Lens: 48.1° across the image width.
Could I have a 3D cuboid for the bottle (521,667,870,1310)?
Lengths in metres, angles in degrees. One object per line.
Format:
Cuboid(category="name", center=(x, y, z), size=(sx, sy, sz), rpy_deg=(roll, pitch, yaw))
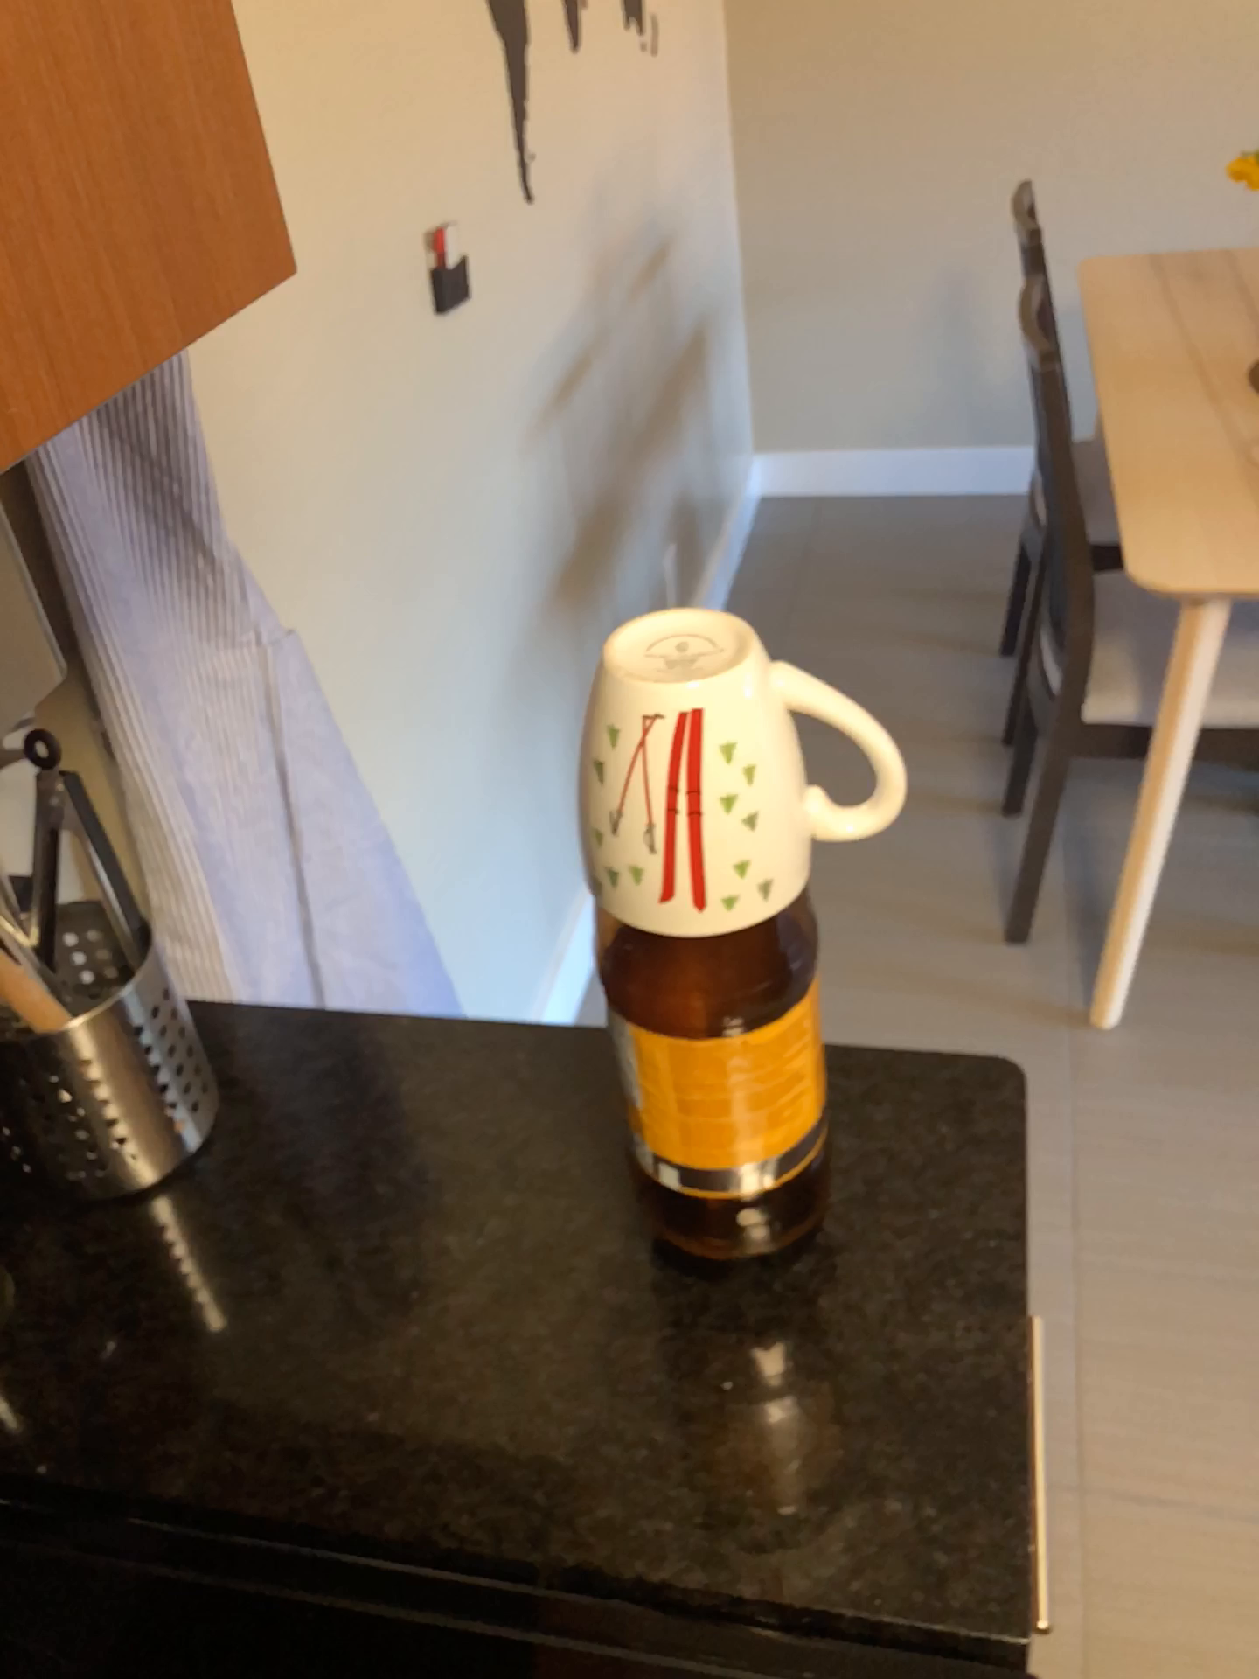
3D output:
Cuboid(category="bottle", center=(0.041, 0.075, 0.666), size=(0.100, 0.279, 0.100), rpy_deg=(-5, 35, 4))
